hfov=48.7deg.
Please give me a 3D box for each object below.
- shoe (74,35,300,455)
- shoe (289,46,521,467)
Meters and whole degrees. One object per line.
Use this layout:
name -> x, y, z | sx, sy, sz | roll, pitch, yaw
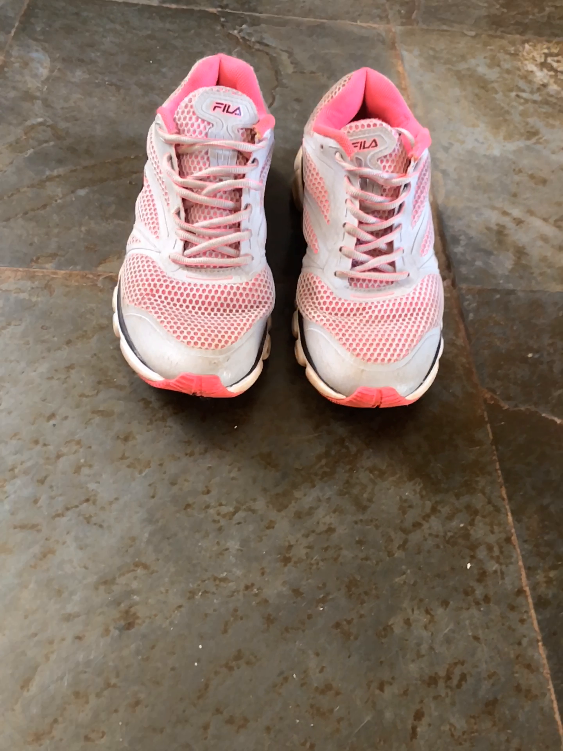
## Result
shoe -> -0.052, -0.098, 0.421 | 0.110, 0.099, 0.282 | 2, 58, -5
shoe -> 0.069, -0.094, 0.437 | 0.110, 0.099, 0.292 | 5, 58, -4
